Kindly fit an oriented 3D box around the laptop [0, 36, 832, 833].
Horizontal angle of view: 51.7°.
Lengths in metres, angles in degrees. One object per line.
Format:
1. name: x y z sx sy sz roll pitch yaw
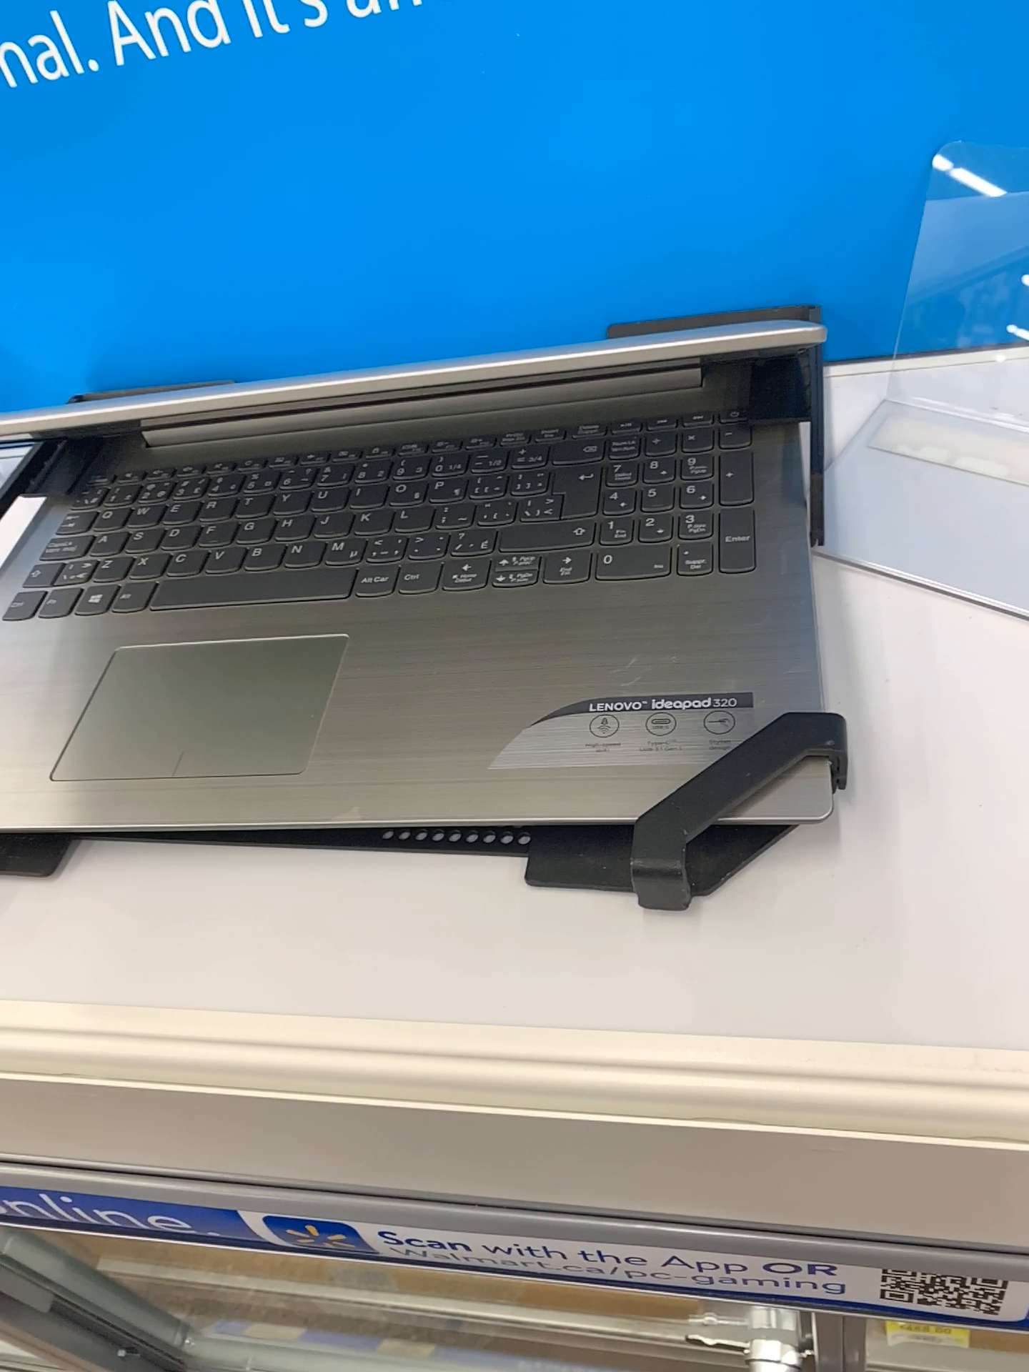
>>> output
1. laptop: -0.072 -0.083 0.354 0.326 0.115 0.230 -3 47 14
